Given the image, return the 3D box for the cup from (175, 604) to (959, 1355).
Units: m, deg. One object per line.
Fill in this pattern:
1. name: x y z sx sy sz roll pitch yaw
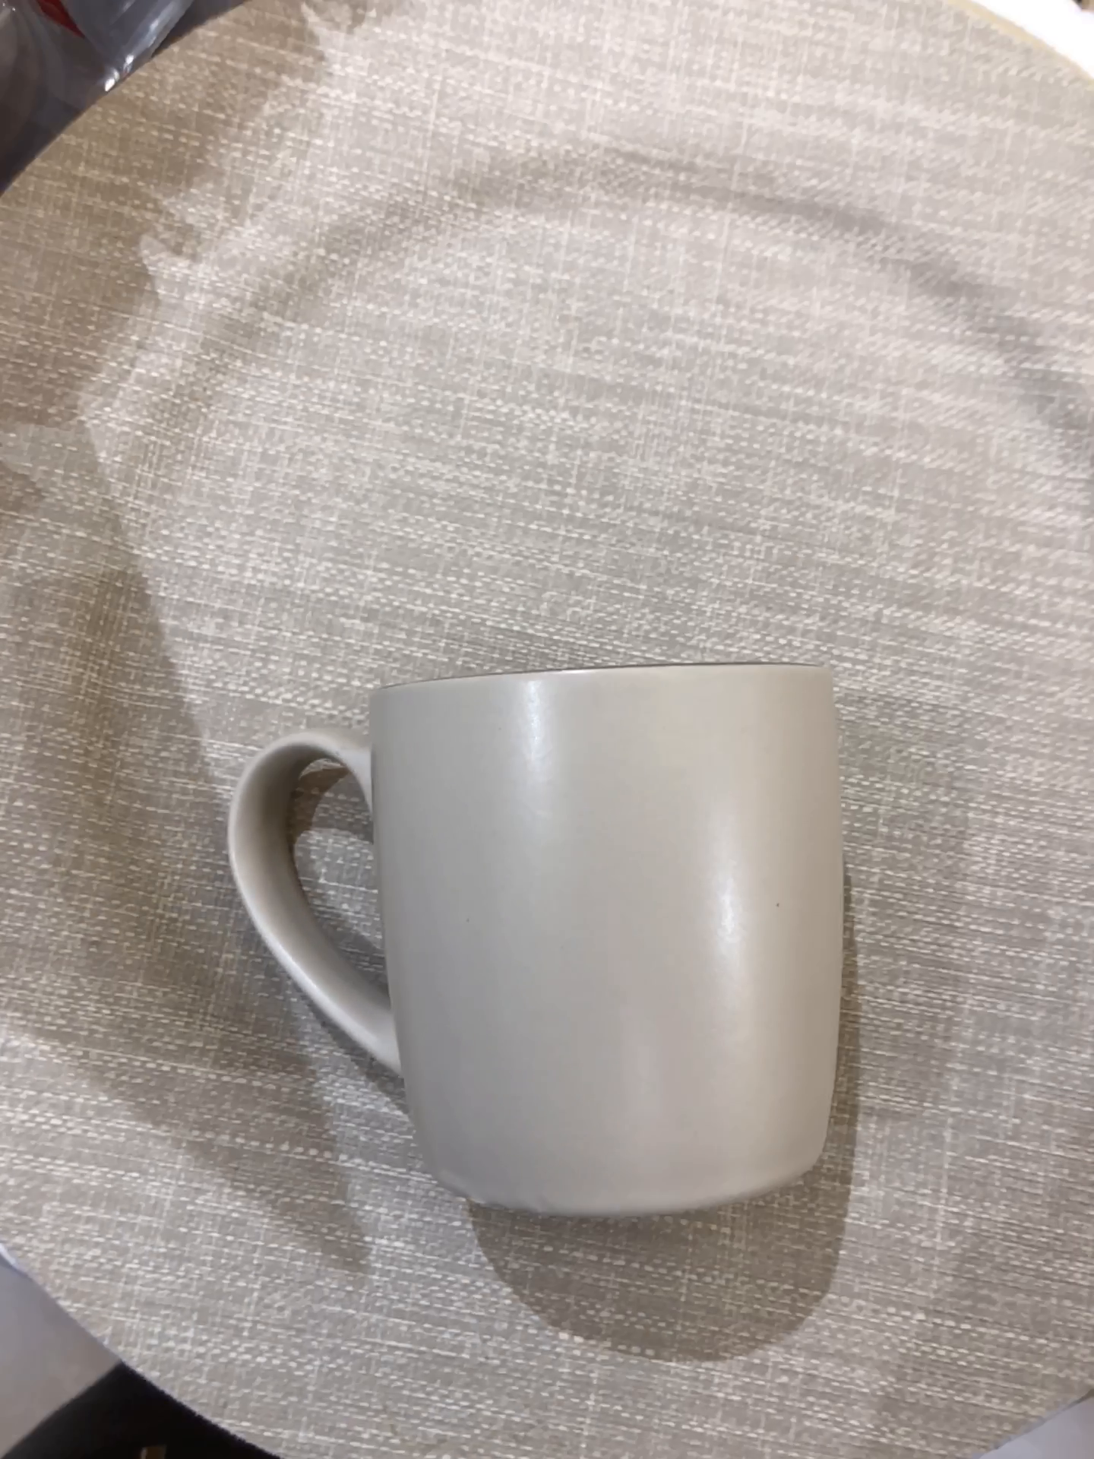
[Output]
1. cup: 0.005 0.034 0.208 0.100 0.080 0.090 -6 87 33
